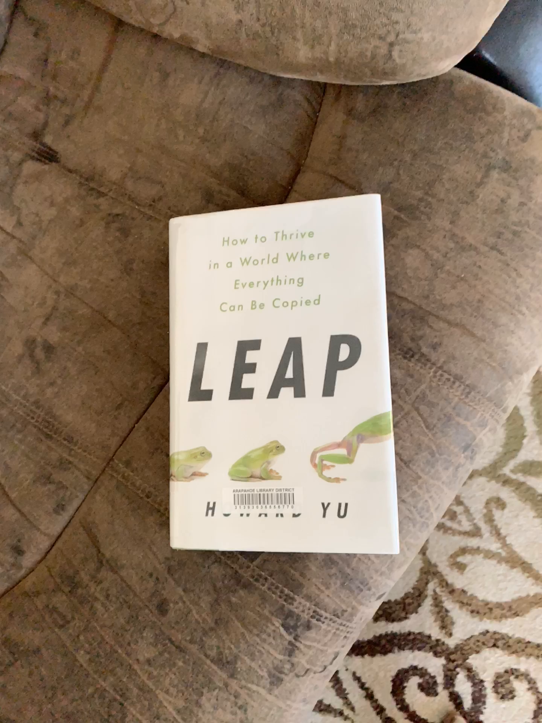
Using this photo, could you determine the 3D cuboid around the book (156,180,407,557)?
[{"bbox_3d":[0.003,0.007,0.386,0.160,0.040,0.235,-4,81,15],"label":"book"}]
